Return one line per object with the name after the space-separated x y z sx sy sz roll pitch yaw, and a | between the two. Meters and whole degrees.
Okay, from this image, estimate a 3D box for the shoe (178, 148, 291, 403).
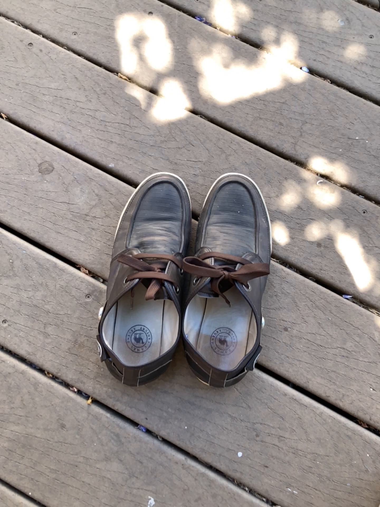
0.054 0.027 0.537 0.107 0.105 0.289 6 80 0 | shoe

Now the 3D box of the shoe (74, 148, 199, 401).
-0.060 0.026 0.544 0.107 0.115 0.287 7 80 0 | shoe
